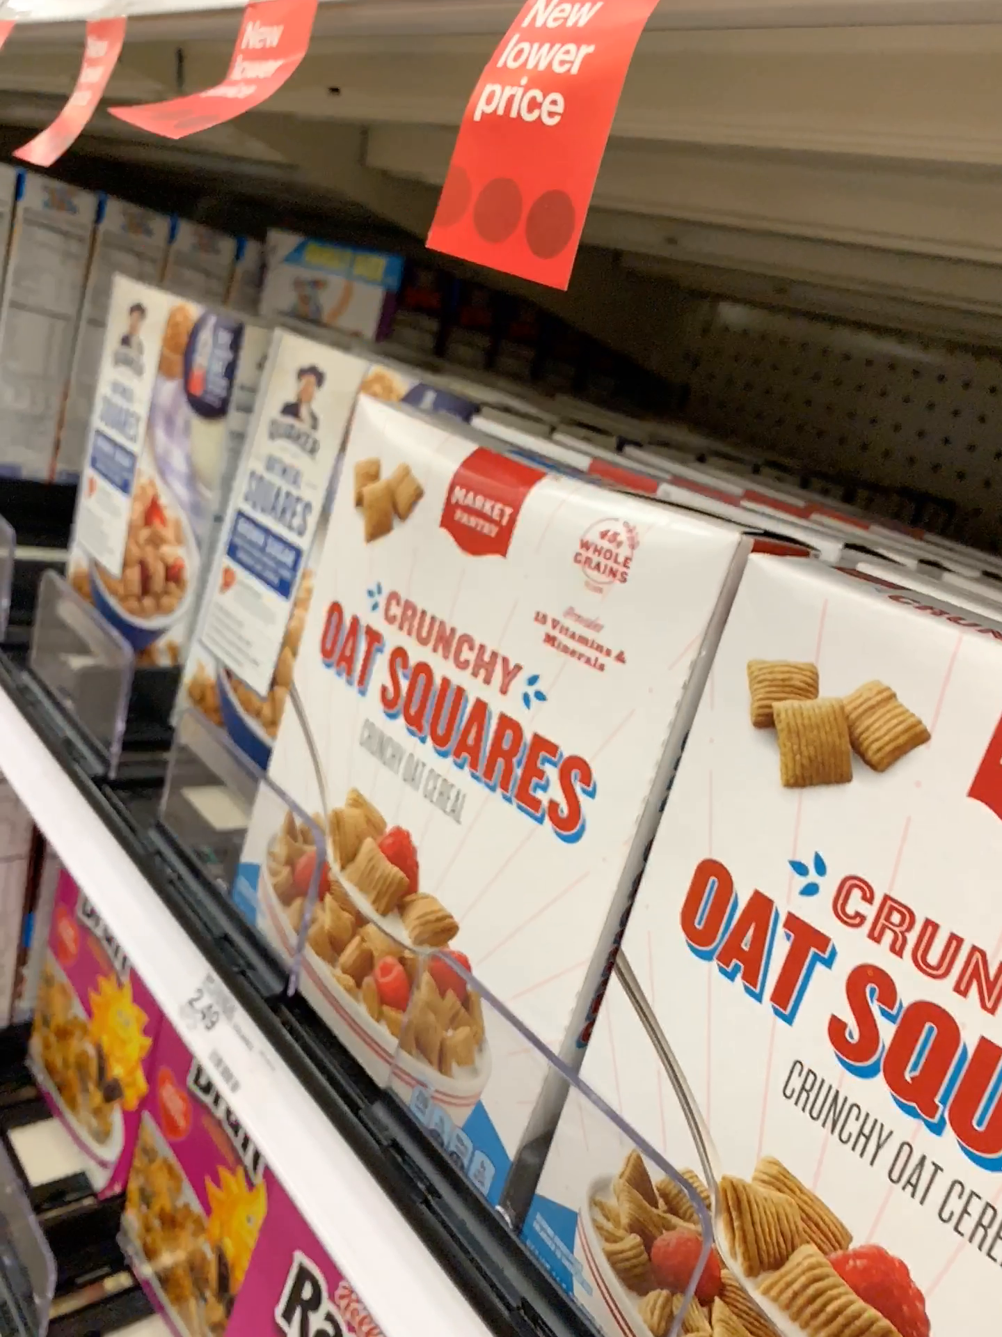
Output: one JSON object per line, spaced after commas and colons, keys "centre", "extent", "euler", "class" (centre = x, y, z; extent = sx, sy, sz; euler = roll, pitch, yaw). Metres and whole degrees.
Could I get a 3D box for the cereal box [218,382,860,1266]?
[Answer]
{"centre": [-0.009, 0.043, 0.393], "extent": [0.060, 0.249, 0.191], "euler": [1, 22, -45], "class": "cereal box"}
